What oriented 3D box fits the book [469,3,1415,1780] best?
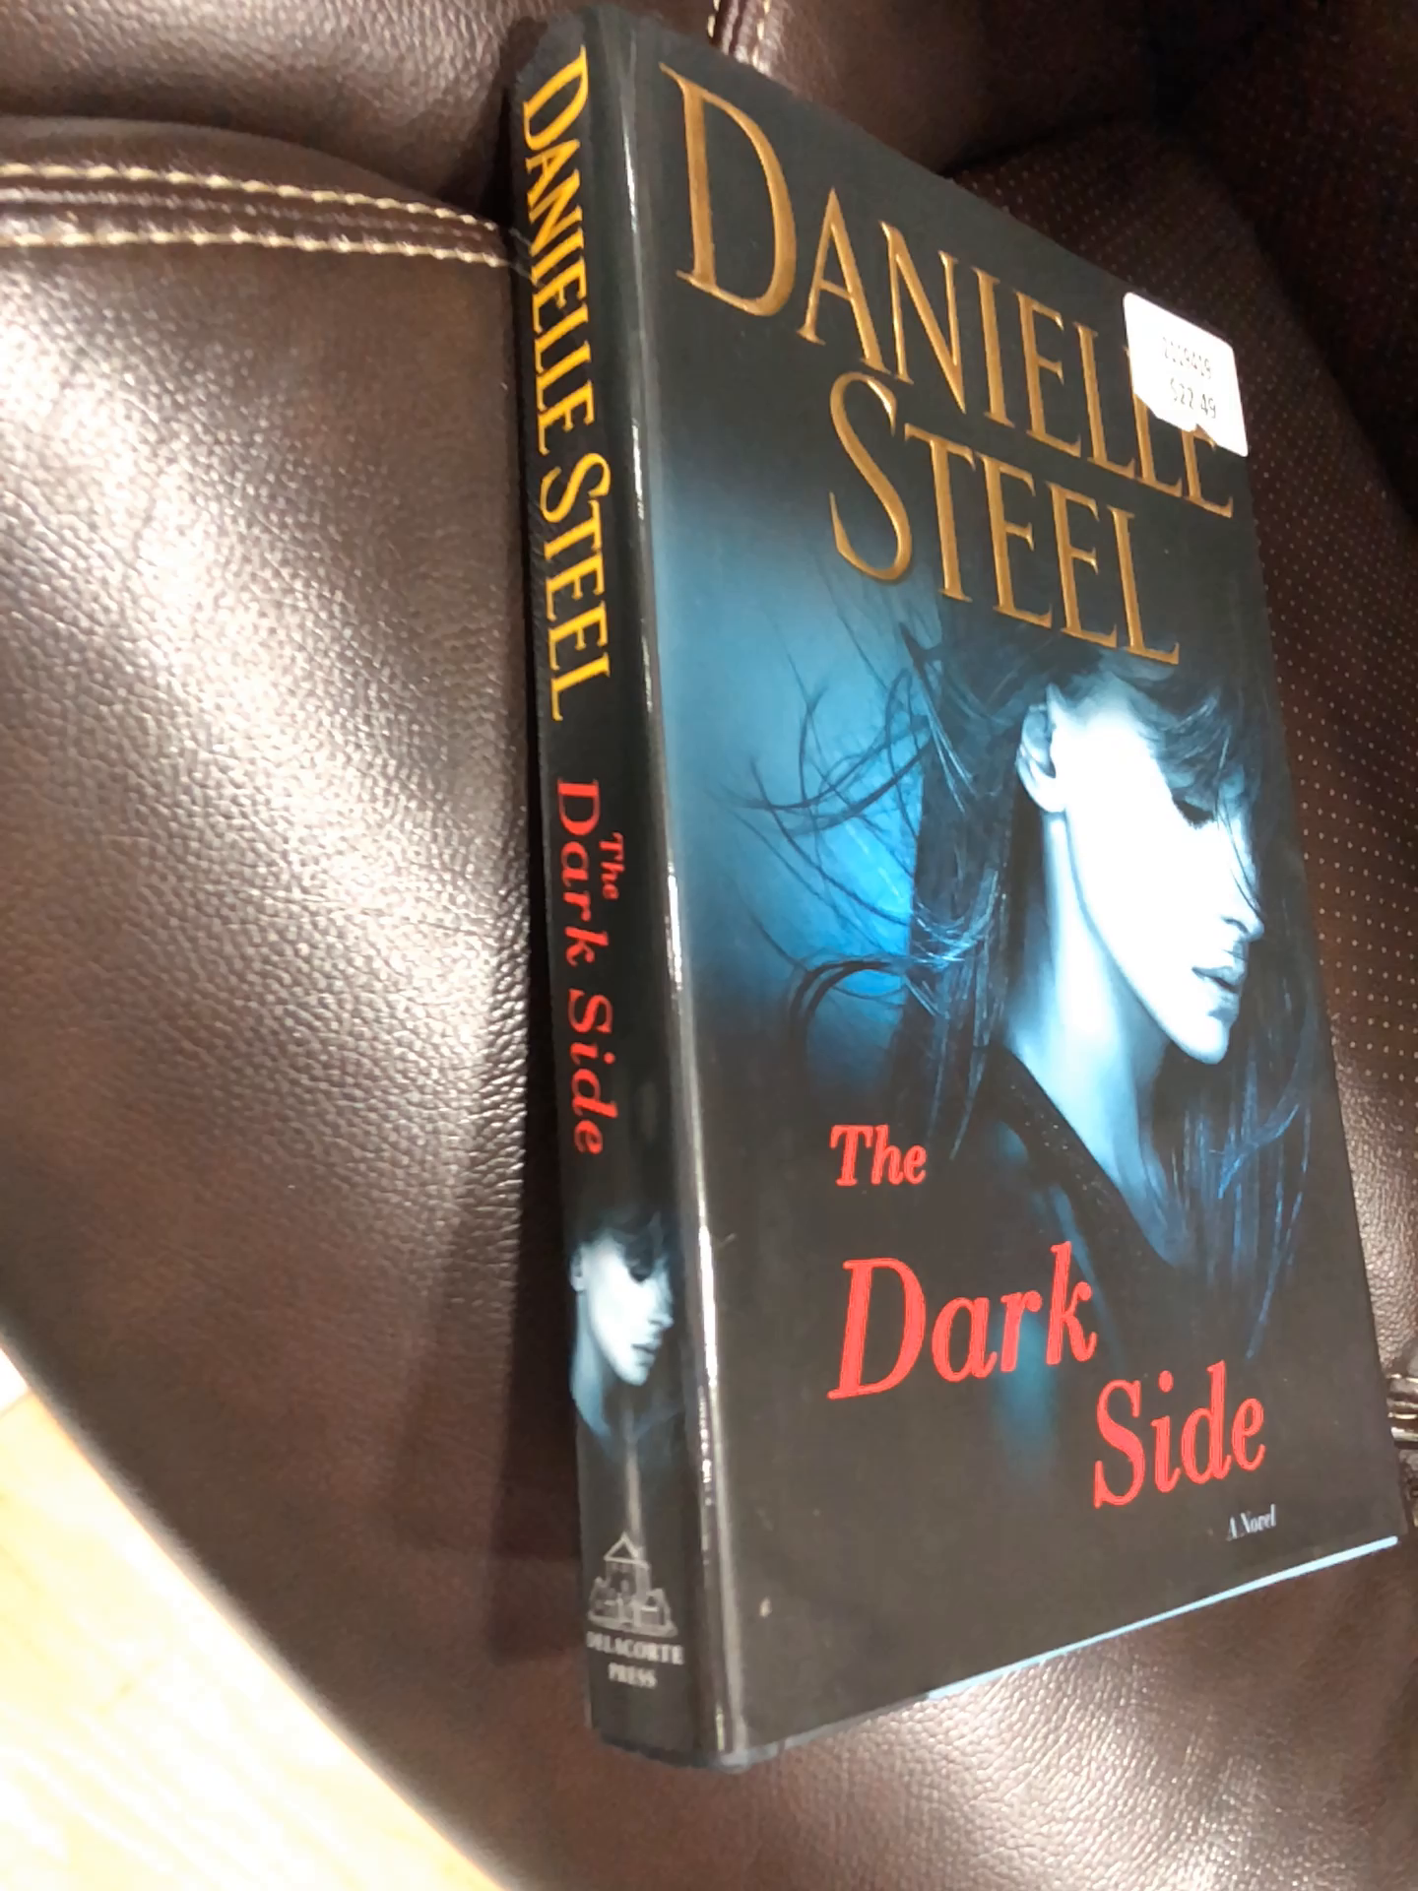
[{"bbox_3d":[0.046,-0.010,0.275,0.169,0.040,0.237,5,77,-40],"label":"book"}]
